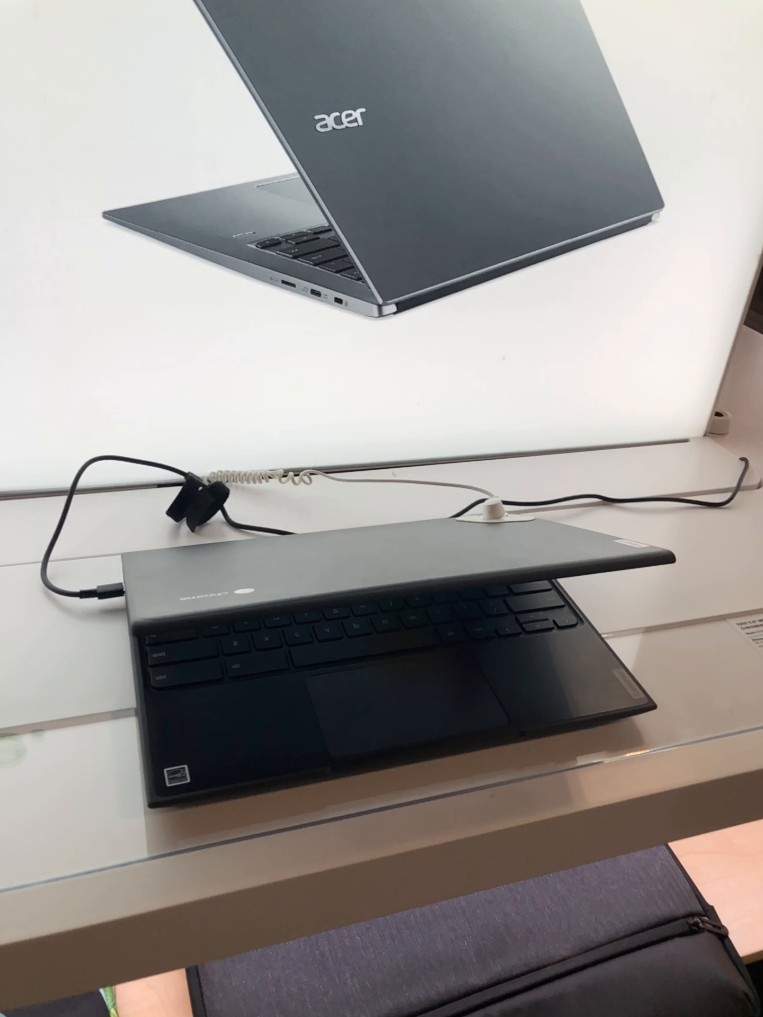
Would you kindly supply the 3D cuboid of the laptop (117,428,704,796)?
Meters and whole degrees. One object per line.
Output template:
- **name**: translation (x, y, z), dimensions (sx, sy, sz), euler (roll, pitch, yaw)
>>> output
- **laptop**: translation (0.000, 0.041, 0.483), dimensions (0.277, 0.072, 0.186), euler (-6, 36, -15)
